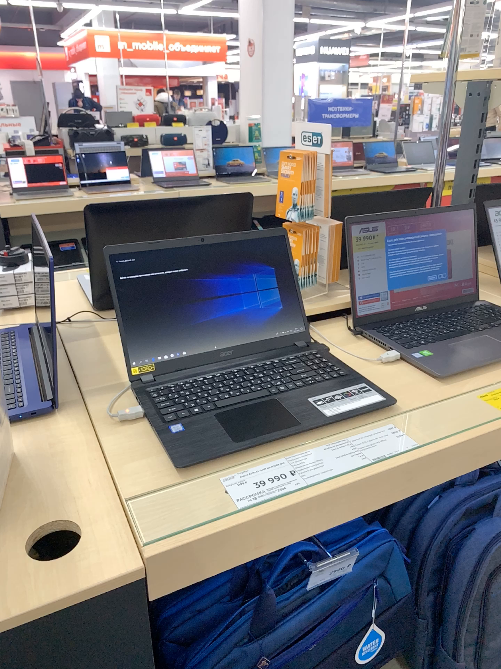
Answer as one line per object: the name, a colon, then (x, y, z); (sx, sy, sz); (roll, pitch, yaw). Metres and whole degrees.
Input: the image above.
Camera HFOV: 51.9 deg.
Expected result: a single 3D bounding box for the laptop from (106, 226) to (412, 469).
laptop: (-0.008, -0.024, 0.879); (0.376, 0.216, 0.376); (-11, 26, -25)
